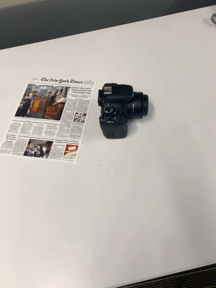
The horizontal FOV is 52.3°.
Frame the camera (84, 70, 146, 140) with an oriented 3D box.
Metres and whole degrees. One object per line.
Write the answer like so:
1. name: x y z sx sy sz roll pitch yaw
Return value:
1. camera: 0.022 -0.101 0.585 0.143 0.100 0.146 -2 63 5
